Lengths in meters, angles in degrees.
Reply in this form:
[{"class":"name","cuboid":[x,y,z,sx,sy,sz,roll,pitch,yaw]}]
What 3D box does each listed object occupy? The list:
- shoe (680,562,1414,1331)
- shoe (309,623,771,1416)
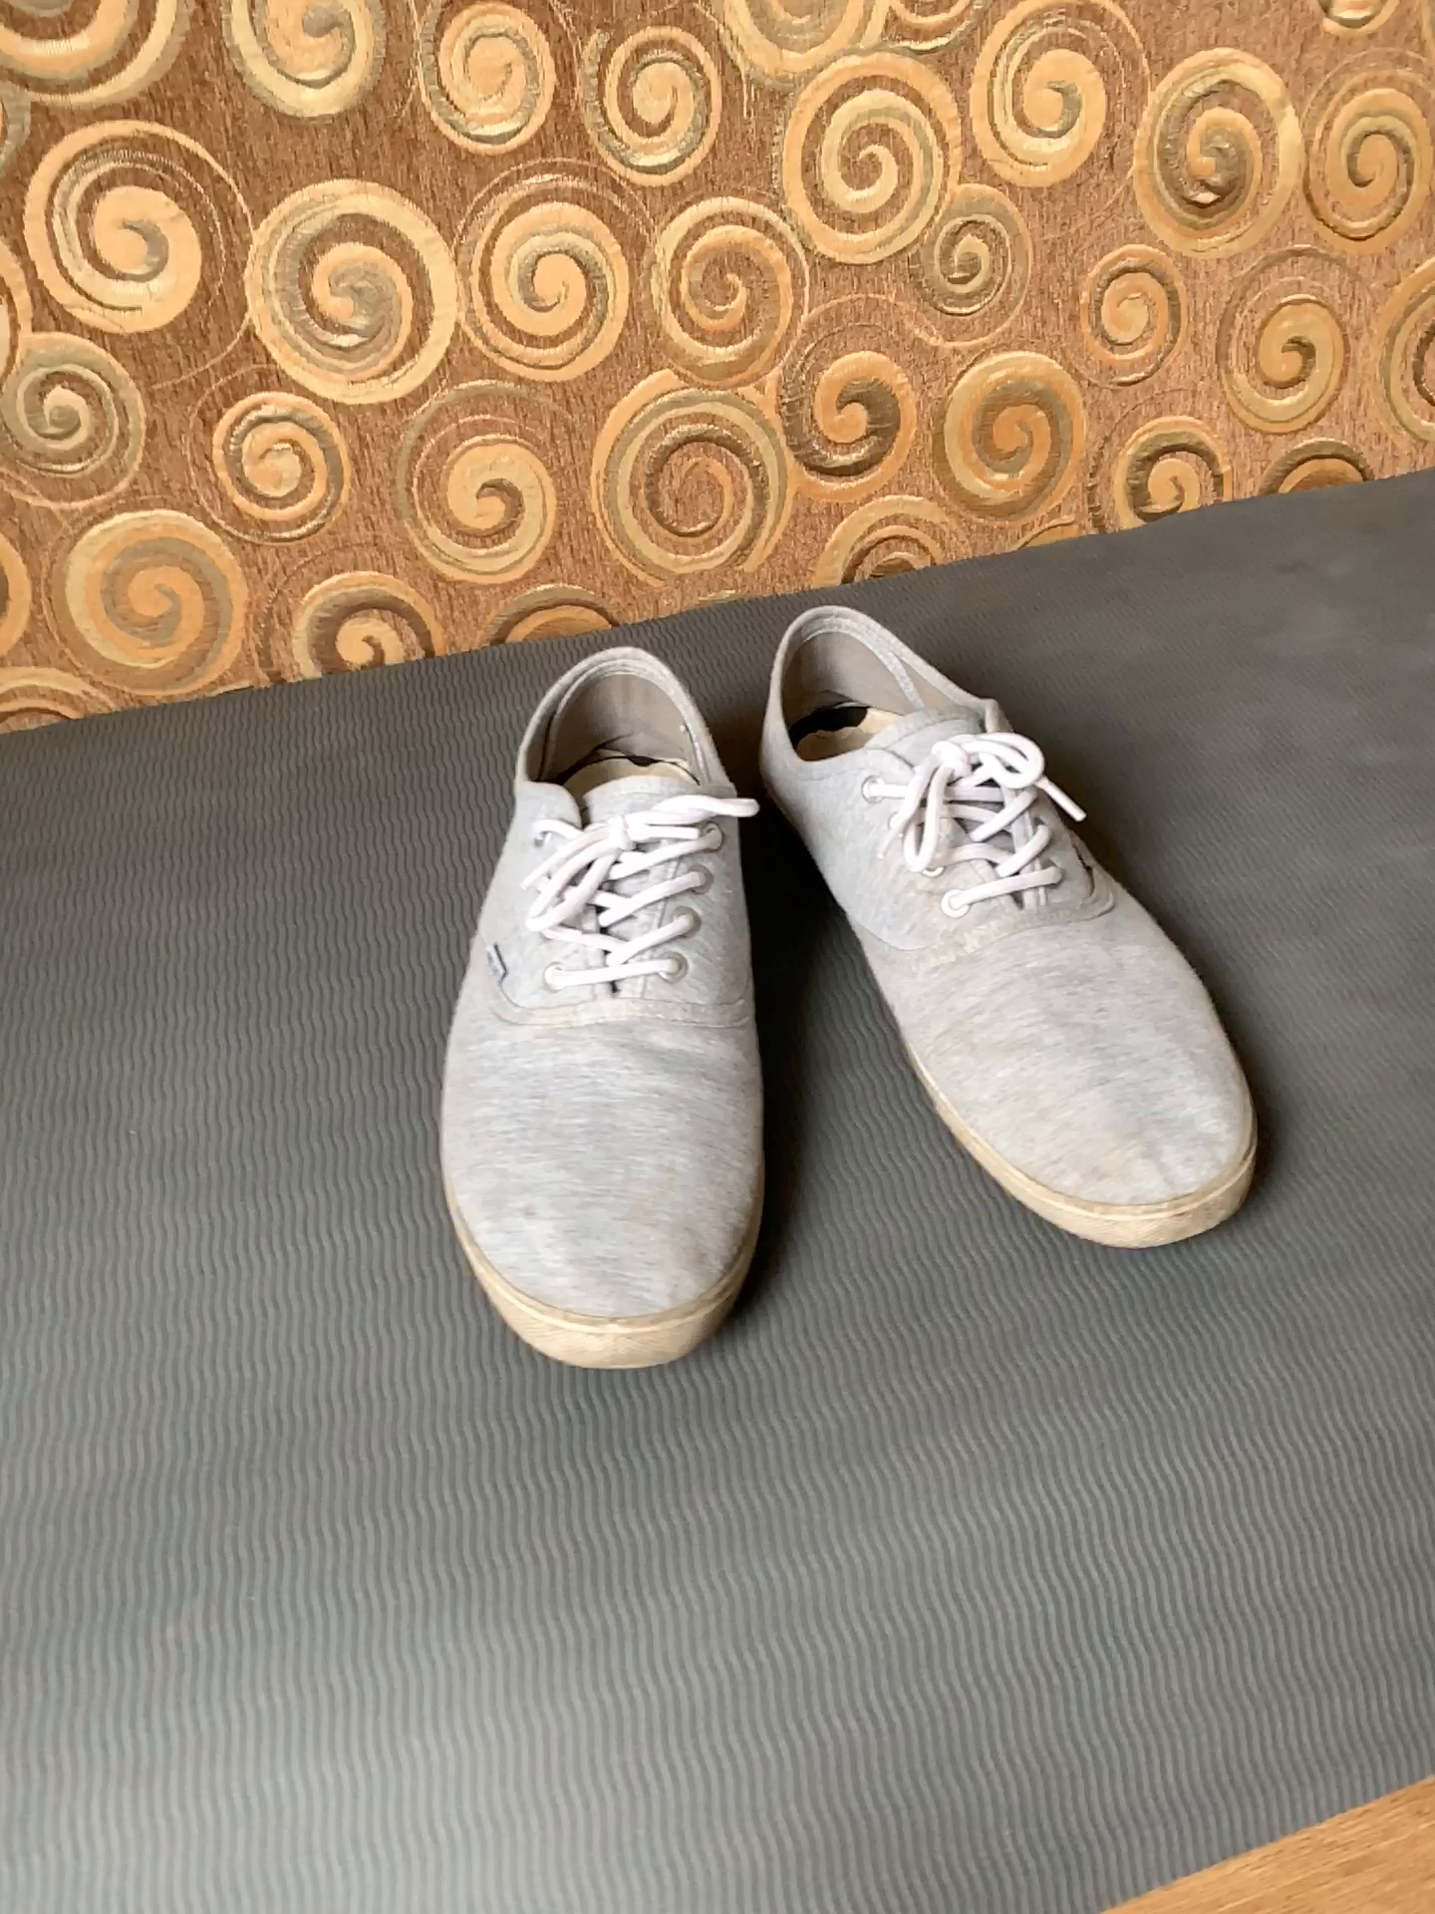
[{"class":"shoe","cuboid":[0.087,-0.022,0.493,0.110,0.080,0.261,-17,48,-14]},{"class":"shoe","cuboid":[-0.046,0.003,0.469,0.110,0.080,0.261,-3,46,-1]}]
